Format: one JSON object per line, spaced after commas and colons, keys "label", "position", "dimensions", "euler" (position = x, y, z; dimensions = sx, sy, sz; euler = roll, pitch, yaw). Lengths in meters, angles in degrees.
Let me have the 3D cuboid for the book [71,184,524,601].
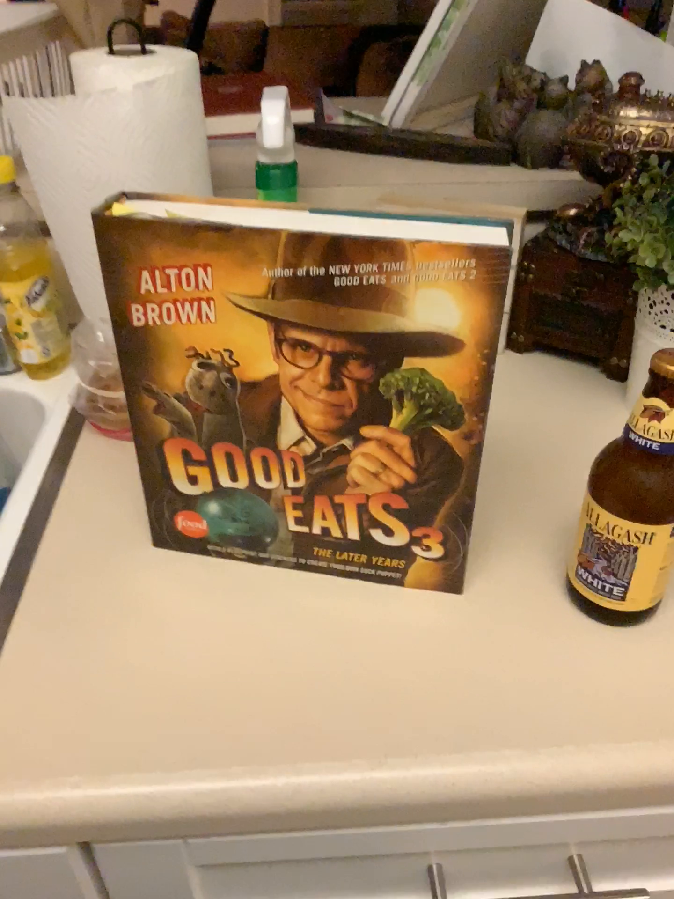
{"label": "book", "position": [-0.021, -0.028, 0.479], "dimensions": [0.240, 0.250, 0.050], "euler": [7, 35, 10]}
